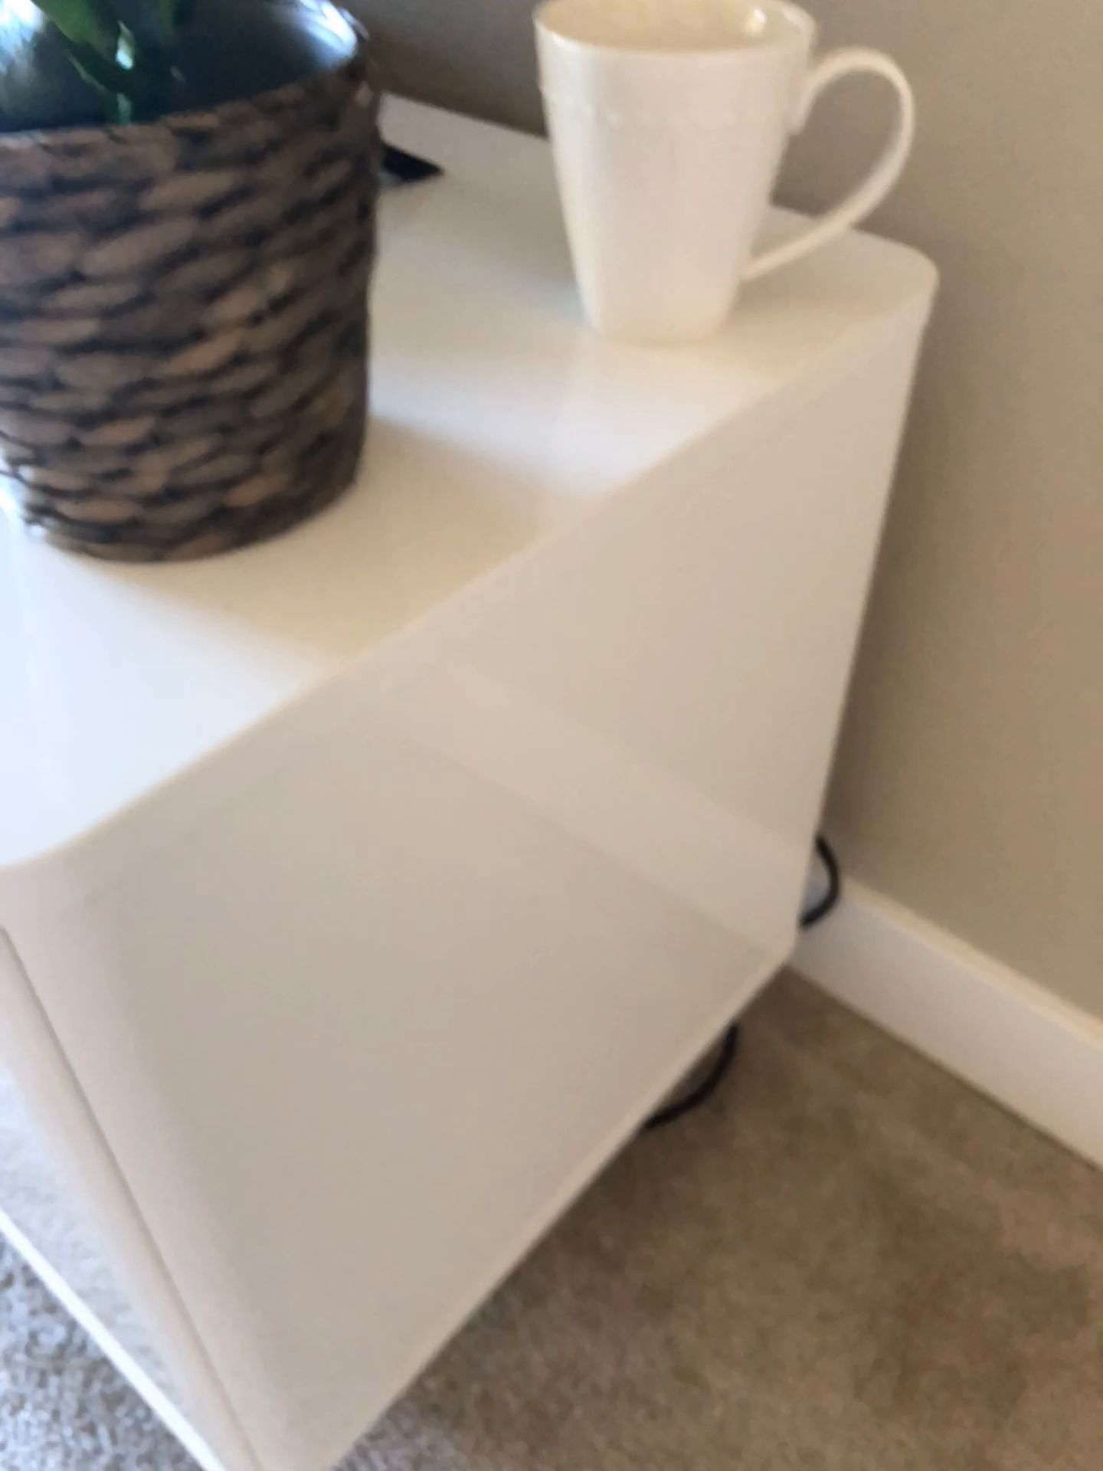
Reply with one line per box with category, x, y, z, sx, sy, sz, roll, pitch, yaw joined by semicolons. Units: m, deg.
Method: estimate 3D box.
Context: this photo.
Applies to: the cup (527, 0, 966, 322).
cup;0.060;-0.209;0.434;0.130;0.090;0.090;3;42;3
